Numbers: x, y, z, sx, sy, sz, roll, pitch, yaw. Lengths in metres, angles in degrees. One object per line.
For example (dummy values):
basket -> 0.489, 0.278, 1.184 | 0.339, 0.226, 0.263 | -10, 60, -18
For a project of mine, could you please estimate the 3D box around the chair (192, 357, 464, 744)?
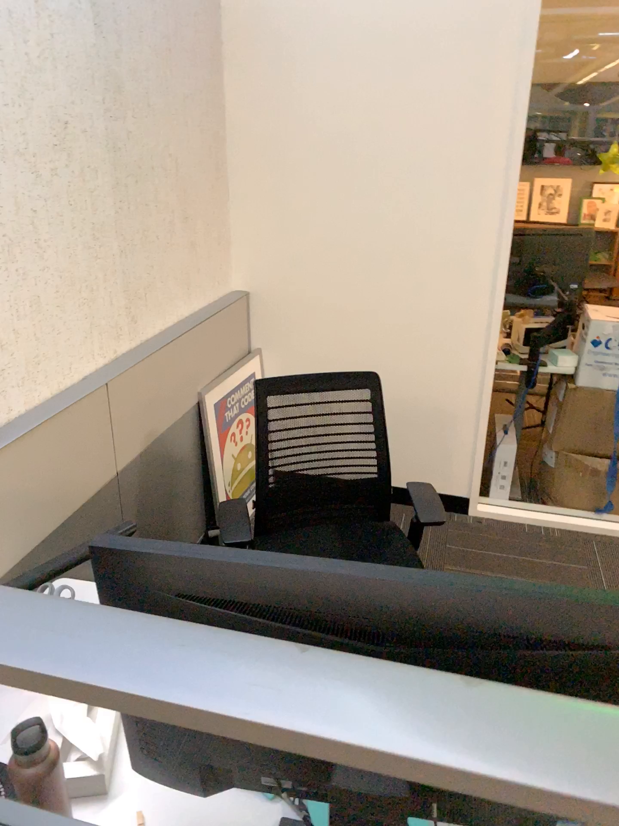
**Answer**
chair -> 0.005, 0.399, 2.066 | 0.670, 0.955, 0.653 | -5, 24, -12
